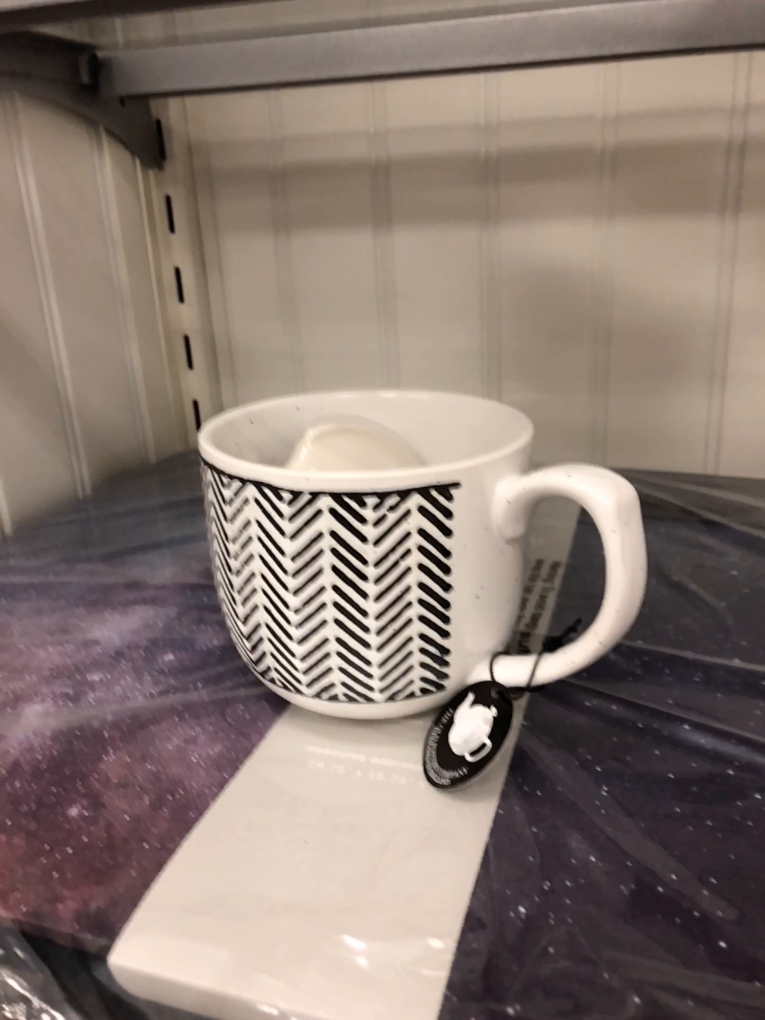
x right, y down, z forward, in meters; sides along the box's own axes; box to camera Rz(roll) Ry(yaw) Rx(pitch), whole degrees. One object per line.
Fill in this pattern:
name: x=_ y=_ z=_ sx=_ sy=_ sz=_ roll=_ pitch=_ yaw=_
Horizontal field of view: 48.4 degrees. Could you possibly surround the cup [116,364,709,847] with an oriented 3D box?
cup: x=0.007 y=0.011 z=0.252 sx=0.140 sy=0.080 sz=0.090 roll=13 pitch=26 yaw=37
